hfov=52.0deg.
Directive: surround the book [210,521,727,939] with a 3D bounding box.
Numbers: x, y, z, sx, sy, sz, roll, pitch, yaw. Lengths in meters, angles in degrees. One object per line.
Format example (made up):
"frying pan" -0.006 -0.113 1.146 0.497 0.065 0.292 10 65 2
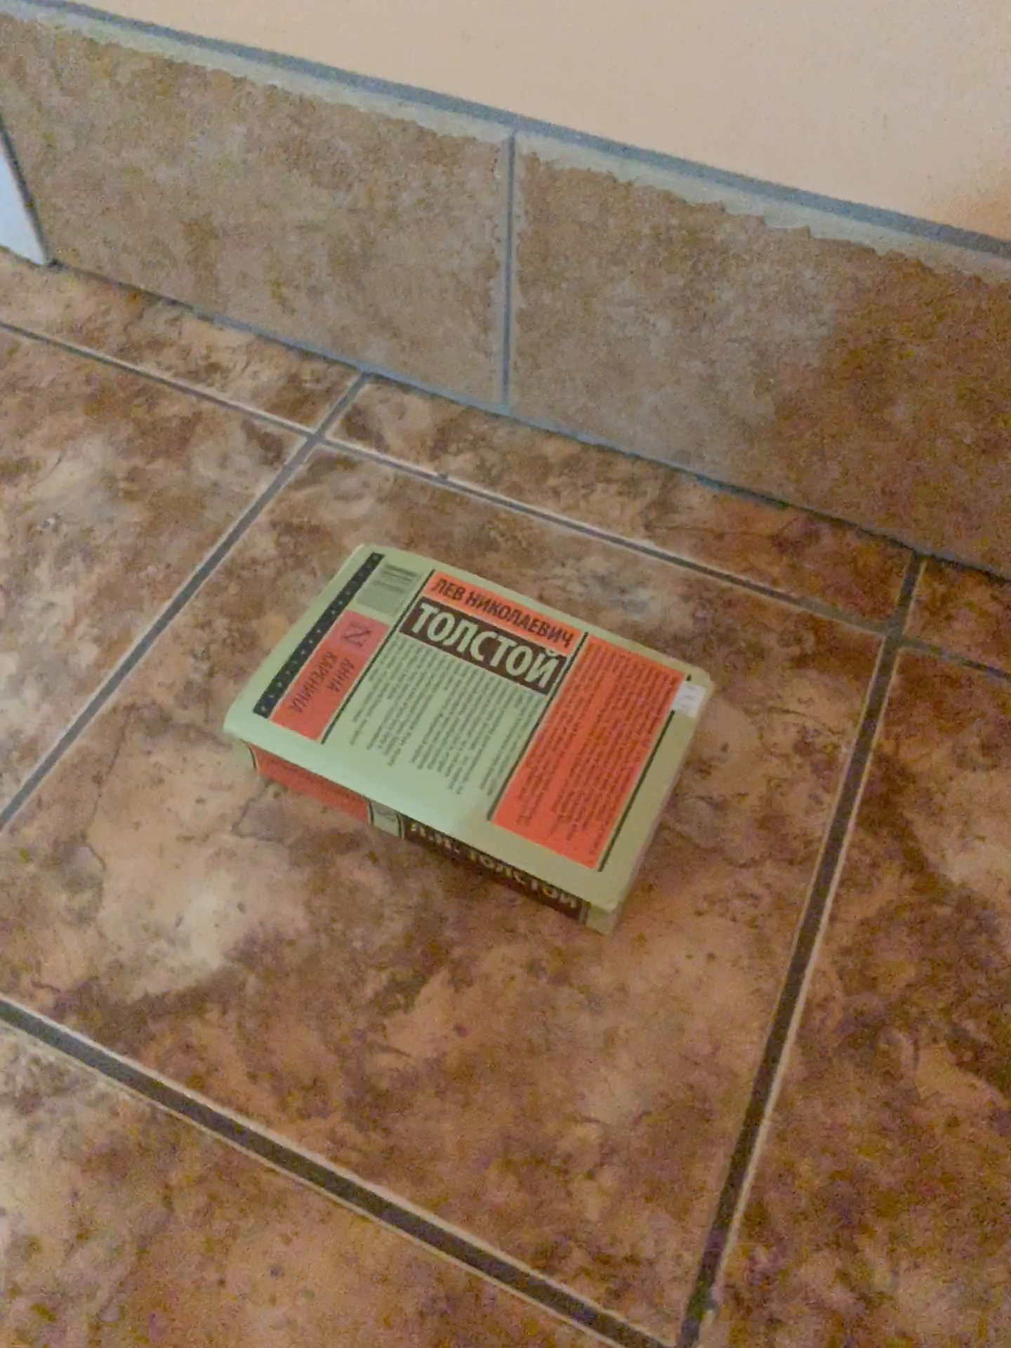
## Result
"book" -0.013 0.018 0.456 0.185 0.044 0.120 22 57 13
